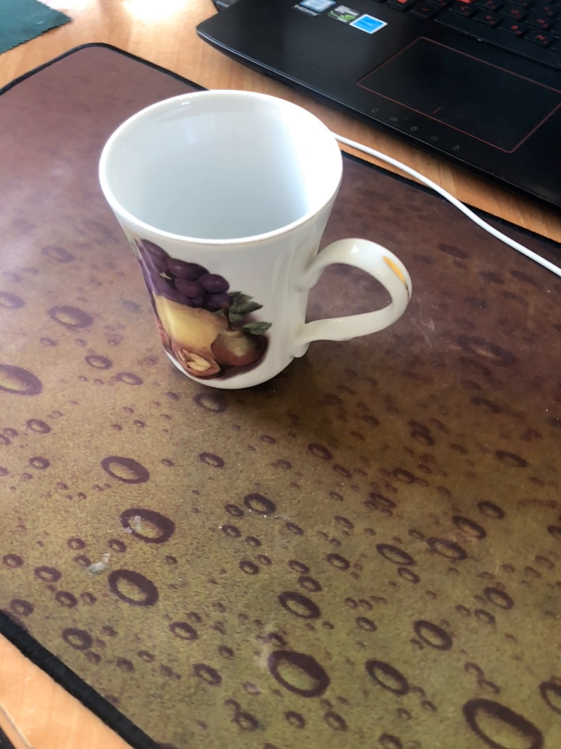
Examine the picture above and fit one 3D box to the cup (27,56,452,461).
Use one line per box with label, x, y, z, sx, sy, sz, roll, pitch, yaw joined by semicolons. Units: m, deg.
cup;-0.010;-0.041;0.218;0.100;0.080;0.080;23;56;15
